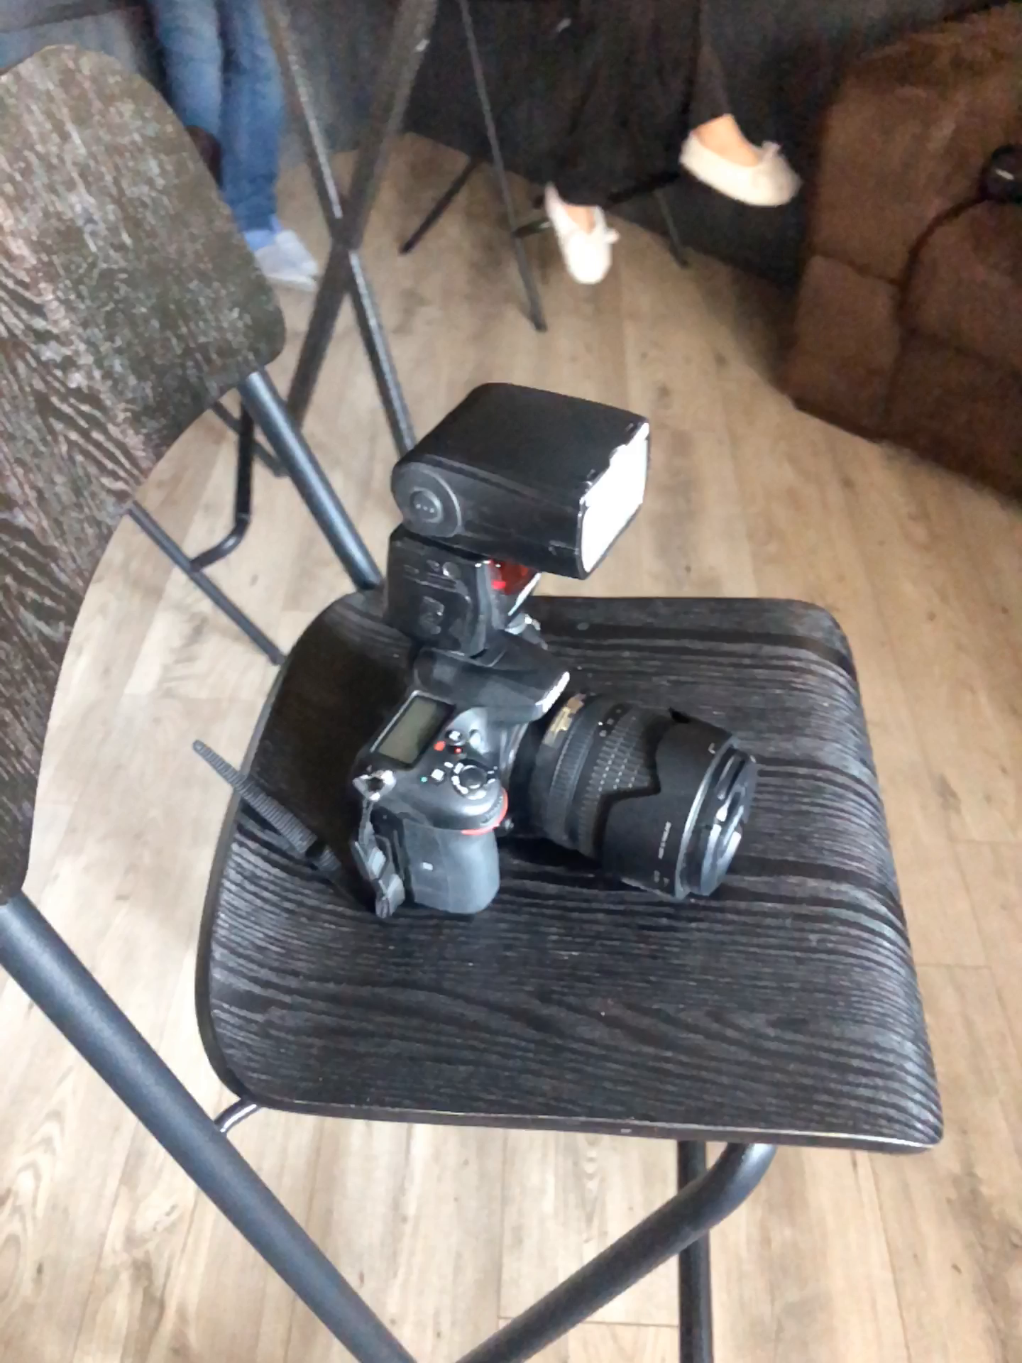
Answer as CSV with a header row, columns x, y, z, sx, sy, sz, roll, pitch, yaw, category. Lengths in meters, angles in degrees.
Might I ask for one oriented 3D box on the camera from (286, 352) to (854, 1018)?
x,y,z,sx,sy,sz,roll,pitch,yaw,category
0.024,0.006,0.482,0.167,0.217,0.126,20,50,17,camera
